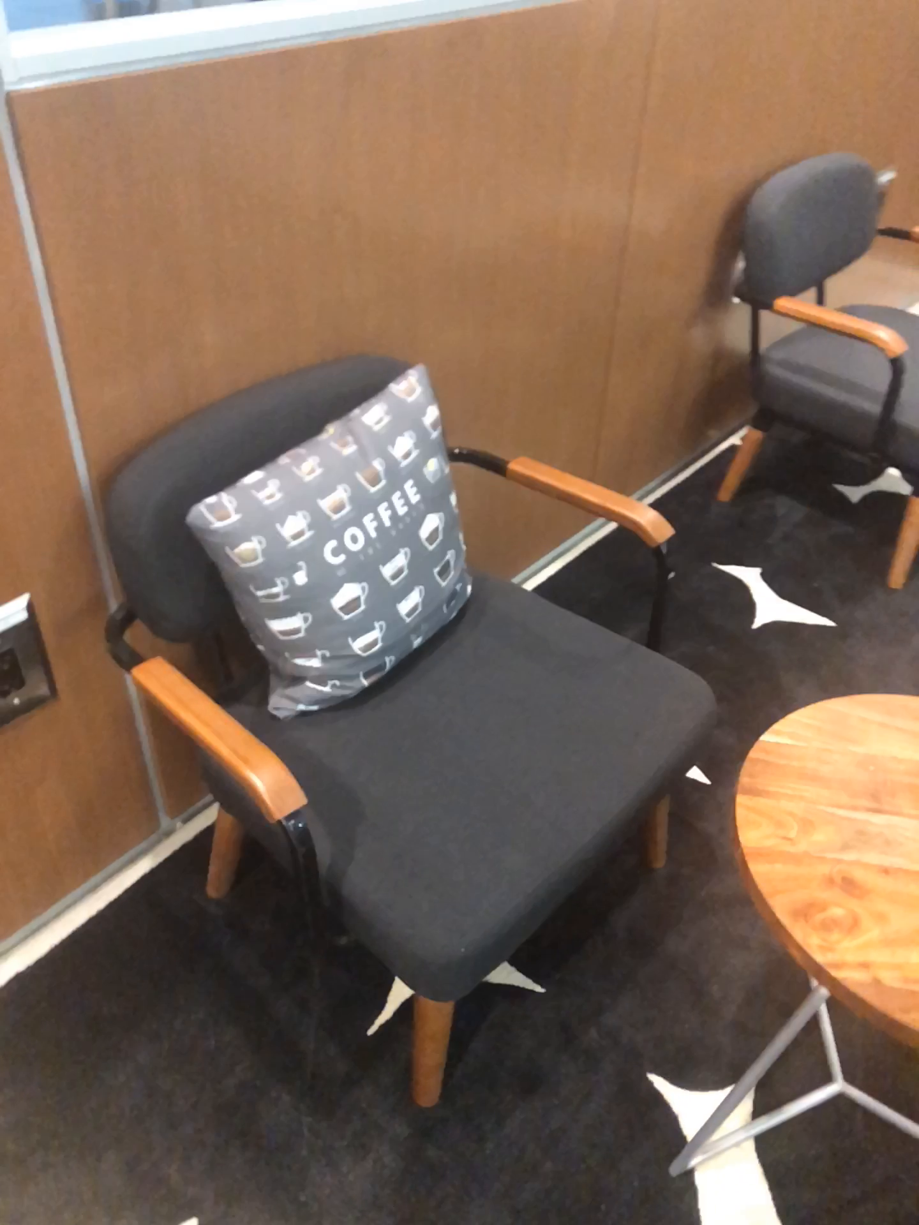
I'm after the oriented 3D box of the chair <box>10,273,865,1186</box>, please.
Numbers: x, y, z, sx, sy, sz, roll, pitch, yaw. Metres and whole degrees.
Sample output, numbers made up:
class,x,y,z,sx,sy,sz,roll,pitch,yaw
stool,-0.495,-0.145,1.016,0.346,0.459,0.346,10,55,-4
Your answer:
class,x,y,z,sx,sy,sz,roll,pitch,yaw
chair,0.007,0.077,1.298,0.571,0.714,0.735,28,45,33

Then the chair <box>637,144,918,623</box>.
class,x,y,z,sx,sy,sz,roll,pitch,yaw
chair,0.906,-0.554,2.268,0.681,0.714,0.684,28,45,33
